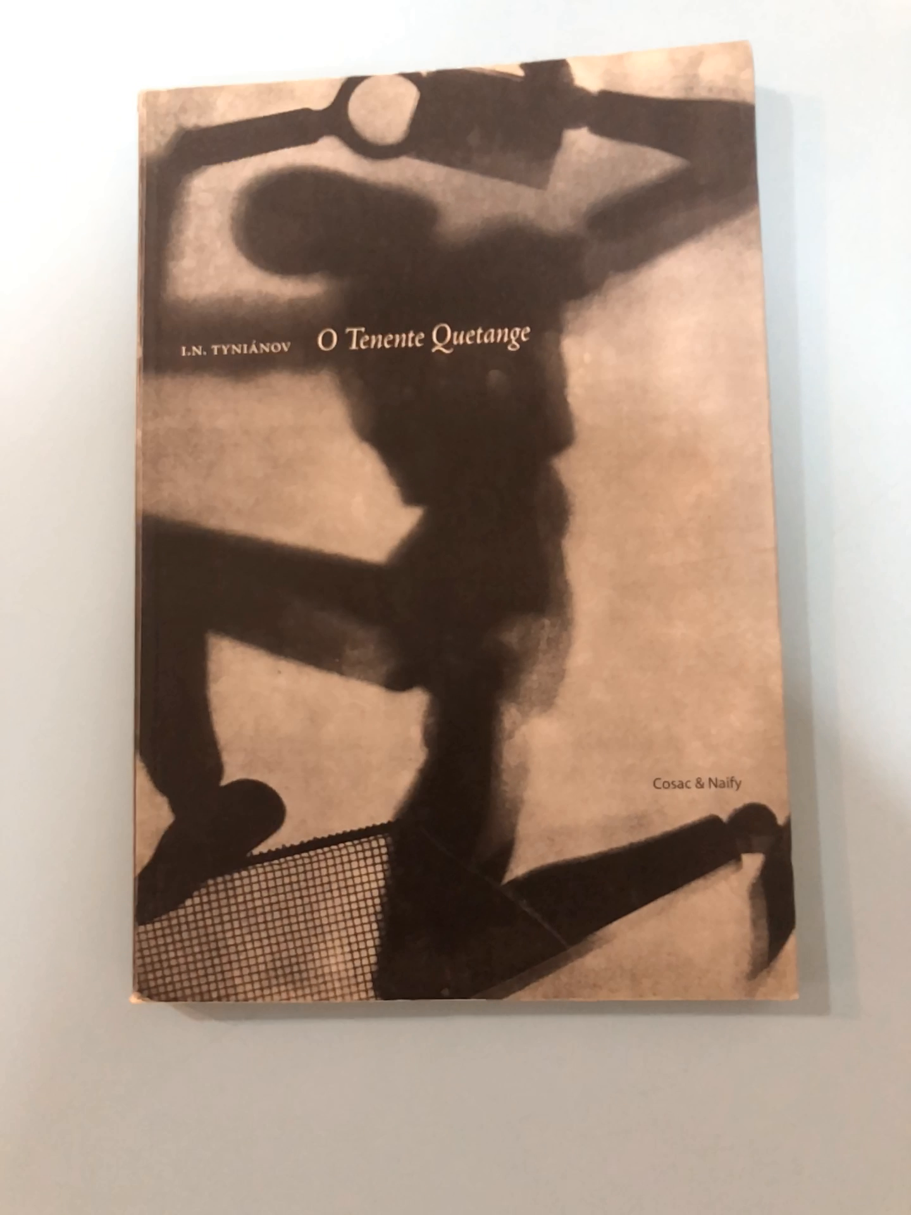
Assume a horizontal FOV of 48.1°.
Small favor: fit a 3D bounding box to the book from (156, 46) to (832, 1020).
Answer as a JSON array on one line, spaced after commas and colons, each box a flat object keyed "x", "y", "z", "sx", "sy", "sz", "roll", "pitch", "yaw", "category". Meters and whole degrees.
[{"x": 0.005, "y": -0.016, "z": 0.218, "sx": 0.134, "sy": 0.016, "sz": 0.196, "roll": -1, "pitch": 86, "yaw": 5, "category": "book"}]
